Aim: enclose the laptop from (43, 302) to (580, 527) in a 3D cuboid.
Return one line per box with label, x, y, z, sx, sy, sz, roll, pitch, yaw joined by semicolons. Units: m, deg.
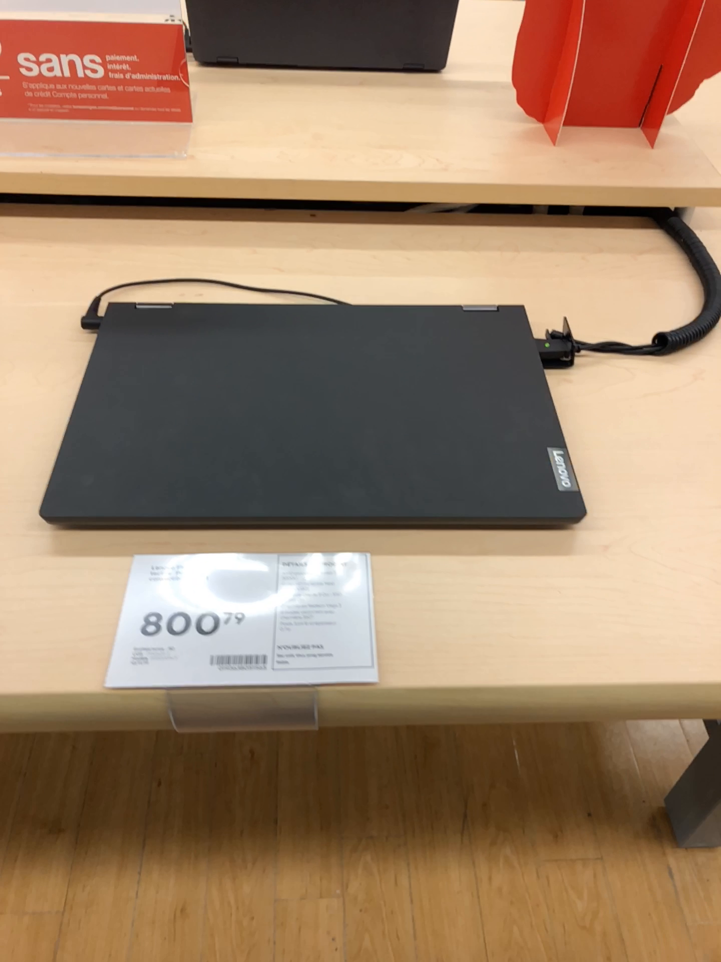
laptop;-0.028;-0.056;0.556;0.326;0.009;0.212;0;48;-4
